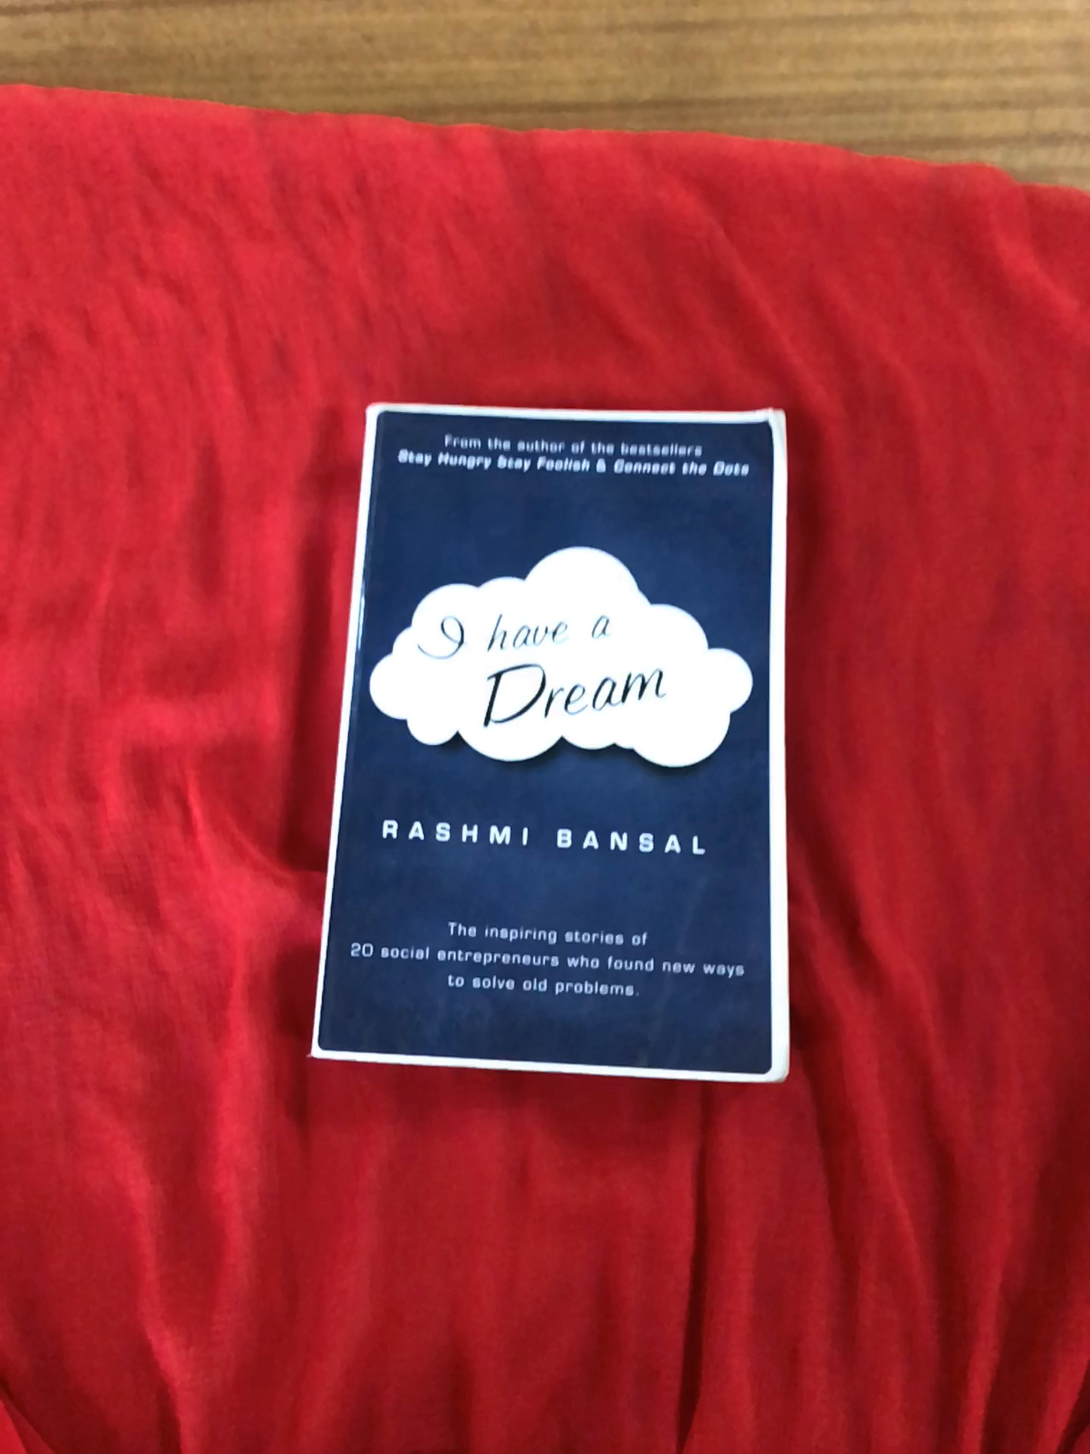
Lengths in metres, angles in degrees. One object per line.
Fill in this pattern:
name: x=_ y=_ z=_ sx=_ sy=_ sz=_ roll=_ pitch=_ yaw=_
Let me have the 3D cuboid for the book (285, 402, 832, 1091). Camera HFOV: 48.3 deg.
book: x=0.008 y=0.002 z=0.353 sx=0.140 sy=0.040 sz=0.190 roll=1 pitch=76 yaw=6
